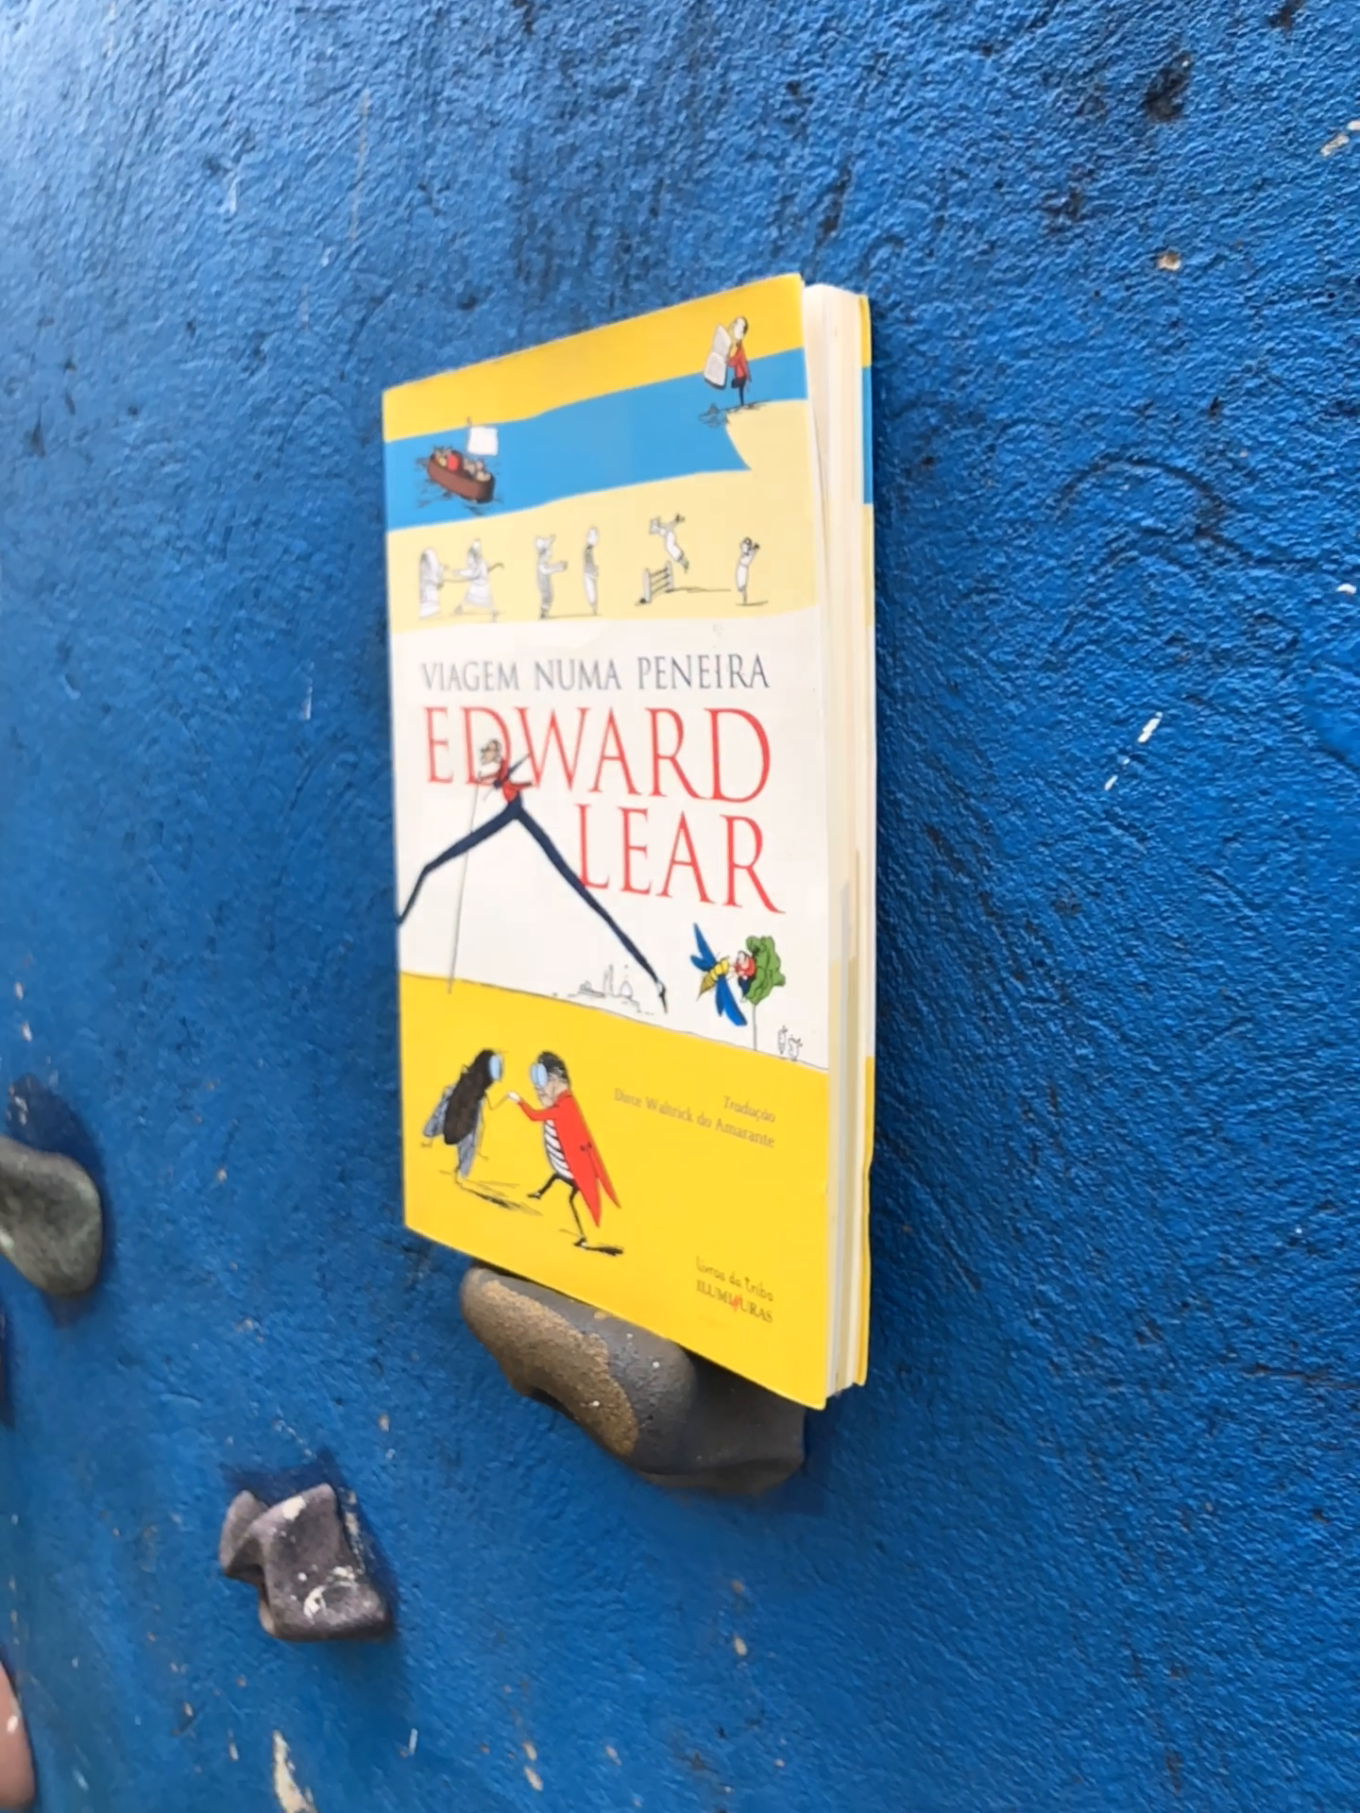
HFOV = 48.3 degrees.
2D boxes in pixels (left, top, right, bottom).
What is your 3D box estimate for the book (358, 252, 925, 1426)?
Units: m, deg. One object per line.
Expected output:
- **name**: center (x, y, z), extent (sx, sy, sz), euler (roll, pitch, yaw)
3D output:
- **book**: center (-0.016, -0.016, 0.346), extent (0.021, 0.219, 0.158), euler (-9, 11, -44)
